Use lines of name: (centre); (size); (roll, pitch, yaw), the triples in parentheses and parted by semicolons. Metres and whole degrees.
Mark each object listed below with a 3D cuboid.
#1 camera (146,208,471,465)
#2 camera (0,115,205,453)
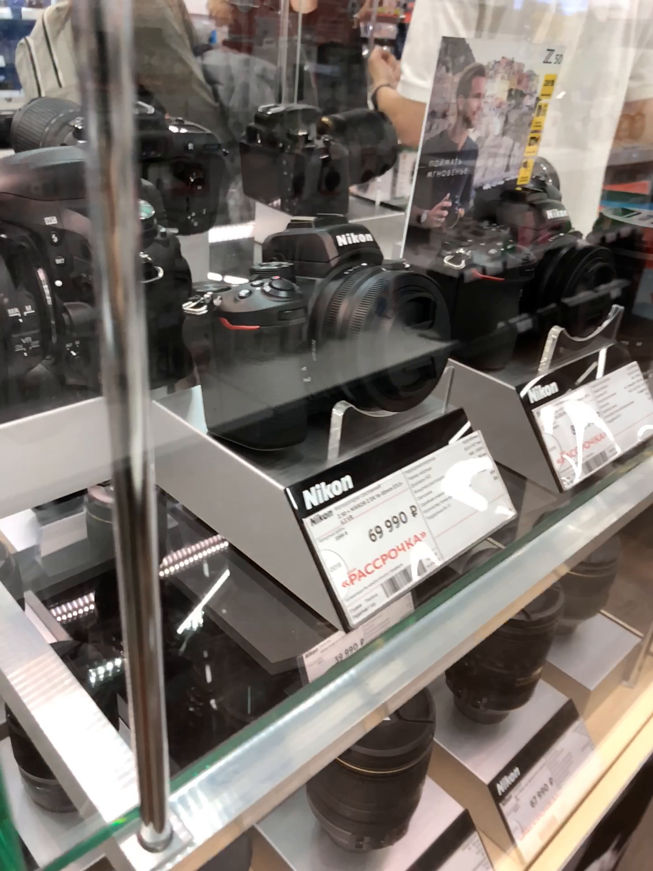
camera: (-0.004, -0.059, 0.359); (0.127, 0.092, 0.090); (-21, 28, -39)
camera: (-0.163, -0.086, 0.363); (0.150, 0.112, 0.130); (-17, 37, -39)
